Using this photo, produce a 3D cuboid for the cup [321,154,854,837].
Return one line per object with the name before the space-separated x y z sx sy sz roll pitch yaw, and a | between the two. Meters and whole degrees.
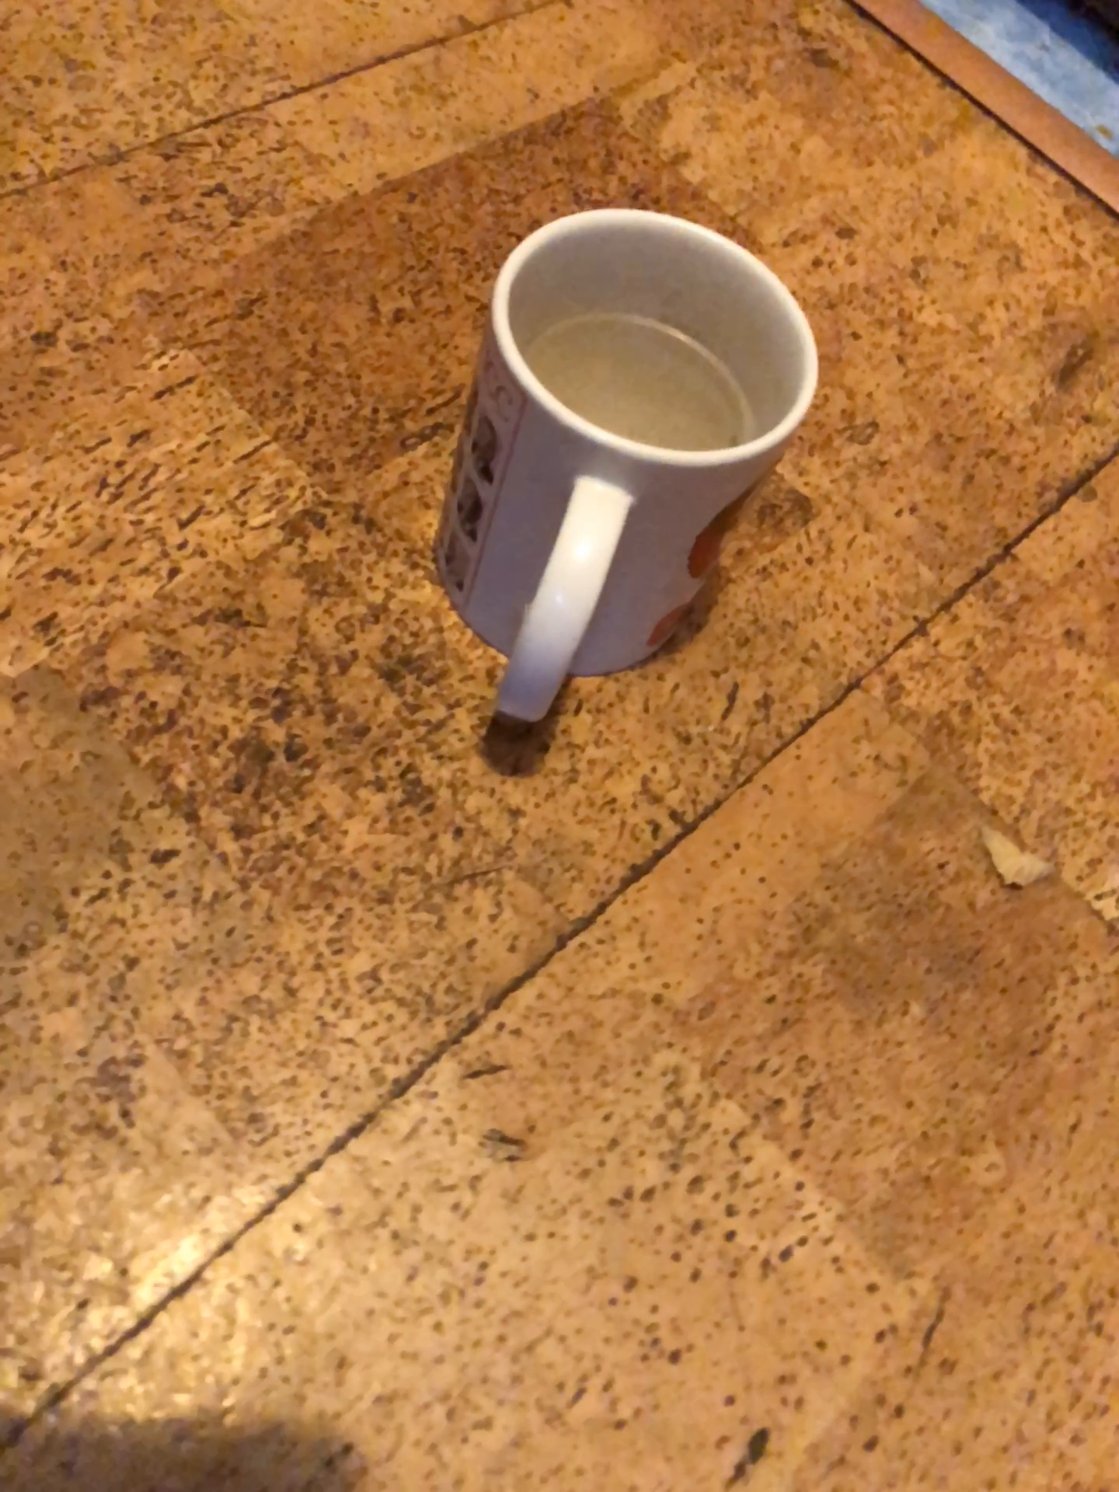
cup | 0.005 -0.062 0.323 0.082 0.100 0.120 24 60 -2
